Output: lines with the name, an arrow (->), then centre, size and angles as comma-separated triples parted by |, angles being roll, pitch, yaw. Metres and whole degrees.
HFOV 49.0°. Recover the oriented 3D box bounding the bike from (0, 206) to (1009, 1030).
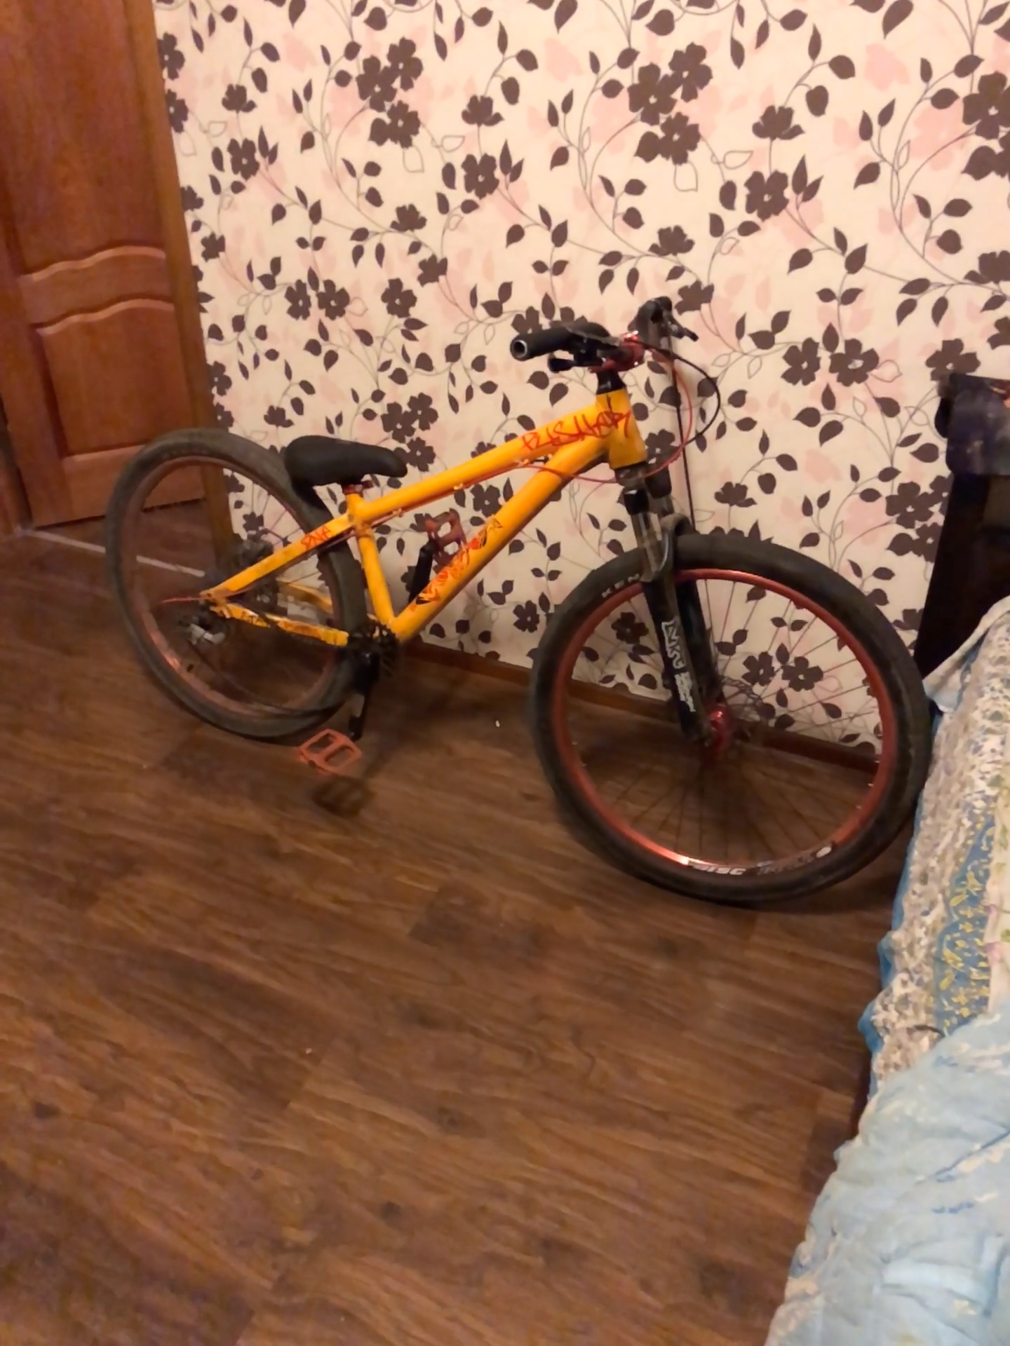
bike -> -0.129, -0.231, 1.970 | 1.677, 1.005, 0.663 | 13, 35, 25
